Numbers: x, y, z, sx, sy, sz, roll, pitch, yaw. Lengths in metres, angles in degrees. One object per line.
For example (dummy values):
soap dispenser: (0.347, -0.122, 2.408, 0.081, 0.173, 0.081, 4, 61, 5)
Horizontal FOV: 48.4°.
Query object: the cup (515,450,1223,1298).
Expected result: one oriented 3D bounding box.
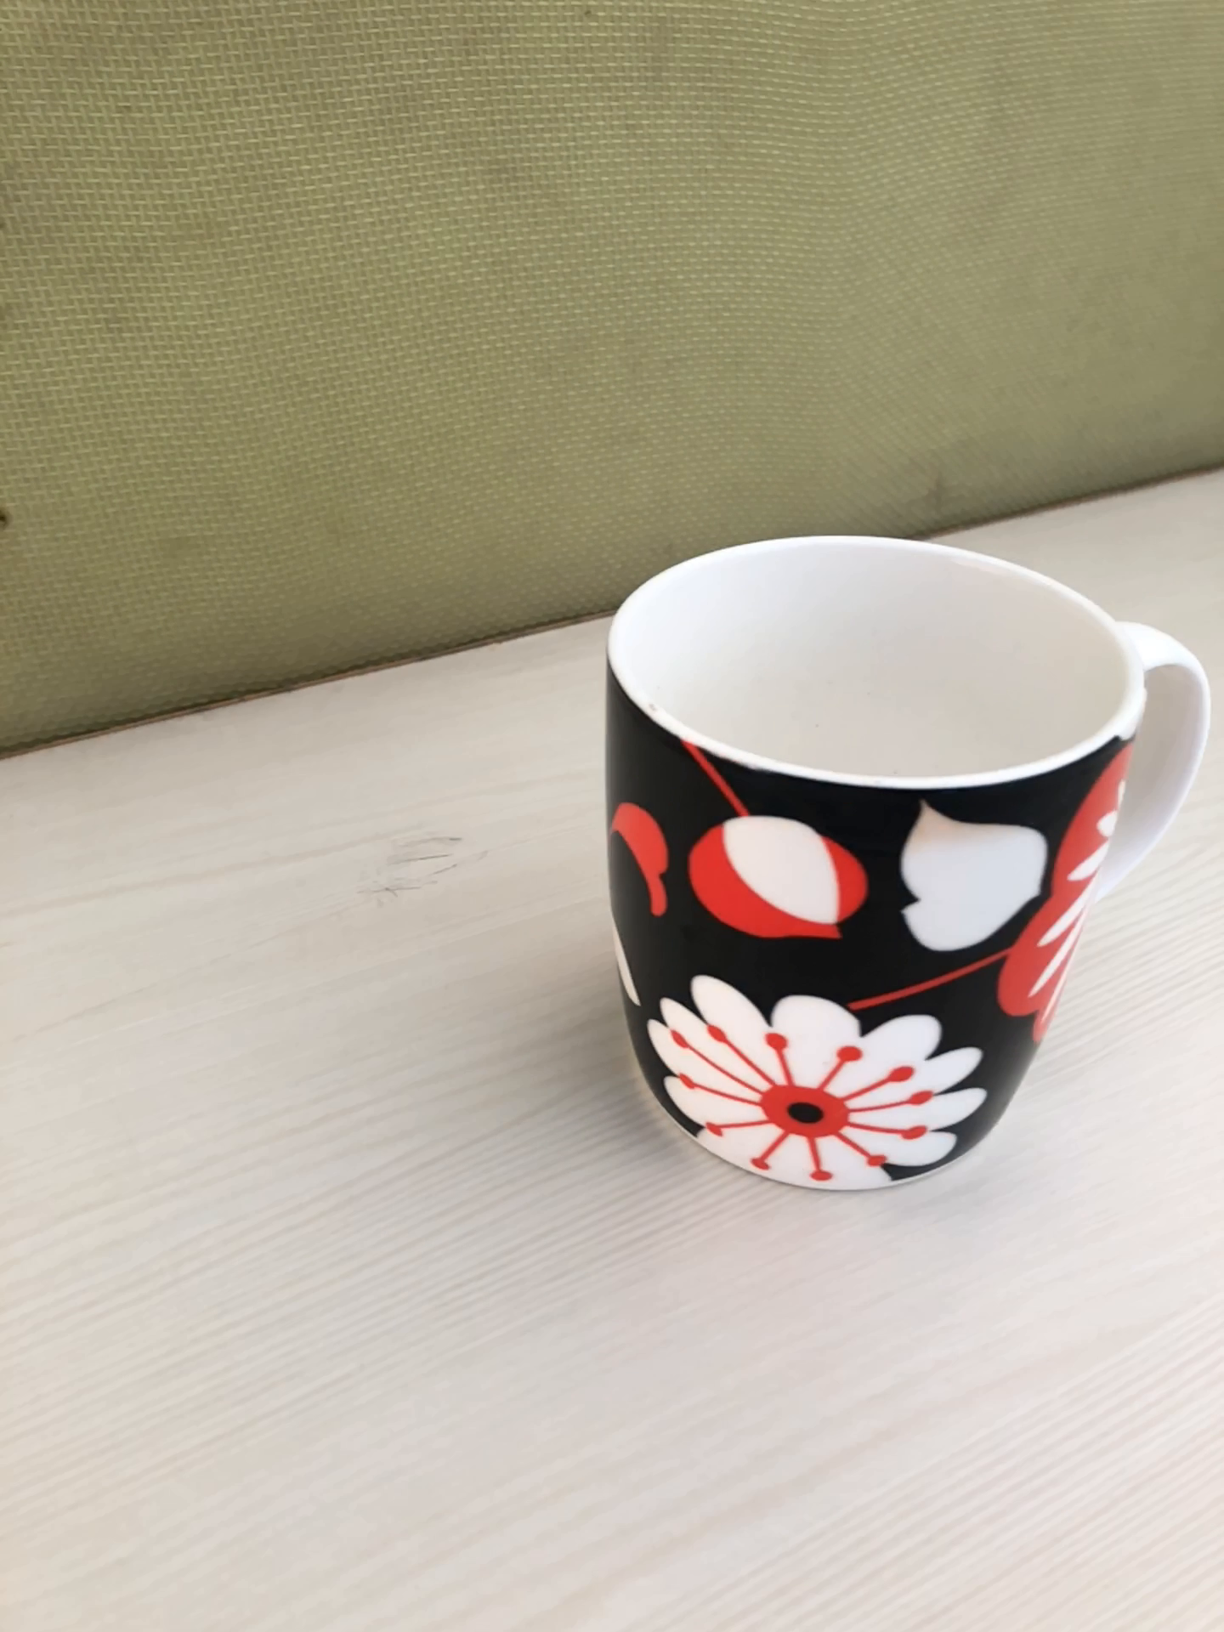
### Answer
cup: (0.059, -0.001, 0.253, 0.121, 0.089, 0.090, -22, 39, -30)
